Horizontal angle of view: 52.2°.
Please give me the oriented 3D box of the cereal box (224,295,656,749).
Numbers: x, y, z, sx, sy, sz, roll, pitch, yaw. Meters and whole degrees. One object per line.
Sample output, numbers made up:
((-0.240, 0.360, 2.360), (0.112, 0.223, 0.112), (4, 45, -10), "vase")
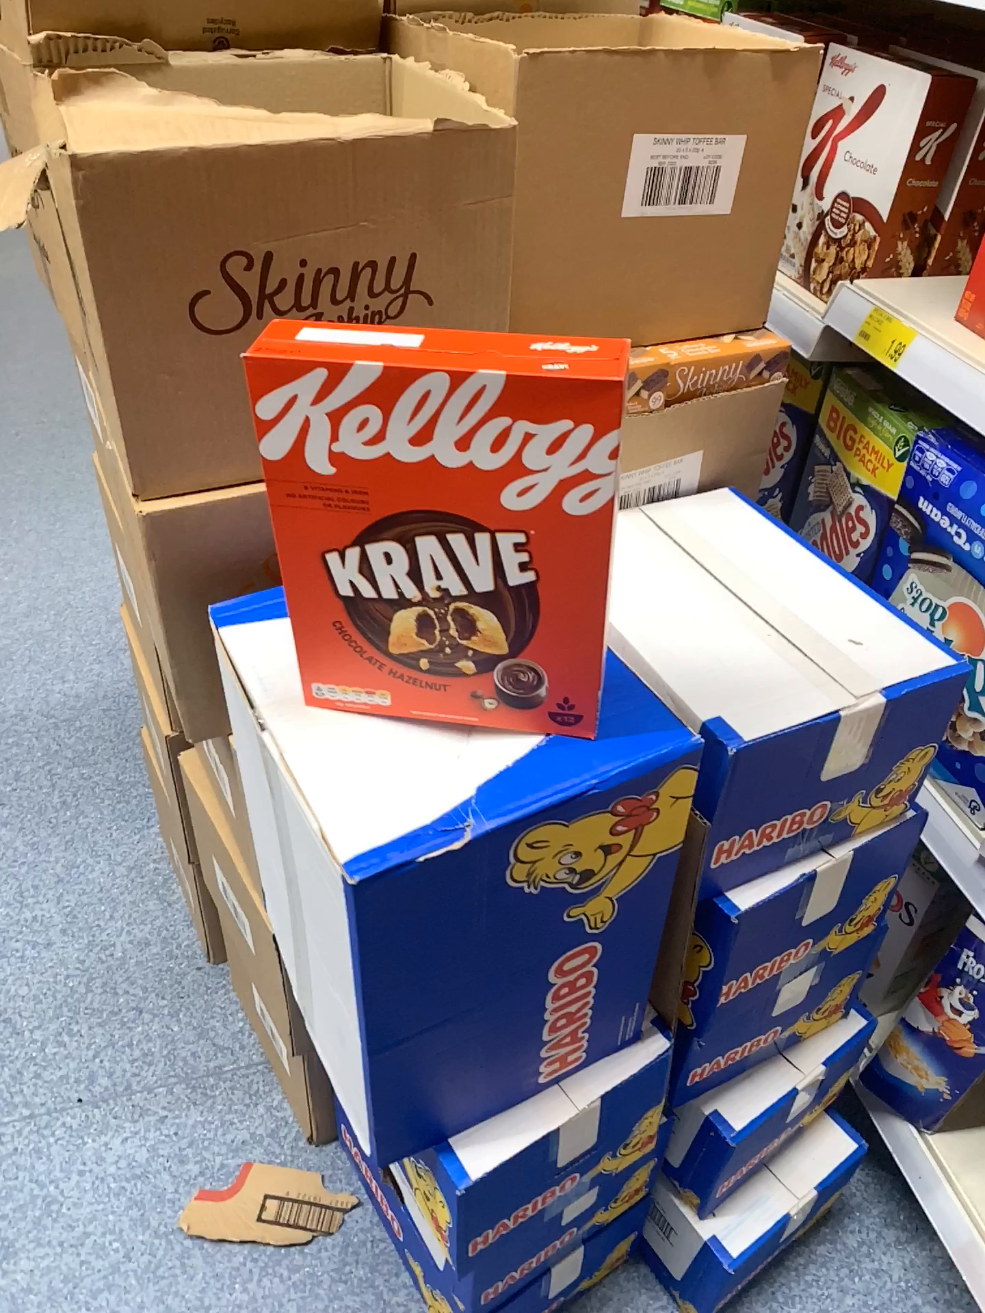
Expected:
((-0.023, -0.066, 0.562), (0.200, 0.238, 0.061), (6, 40, 8), "cereal box")
